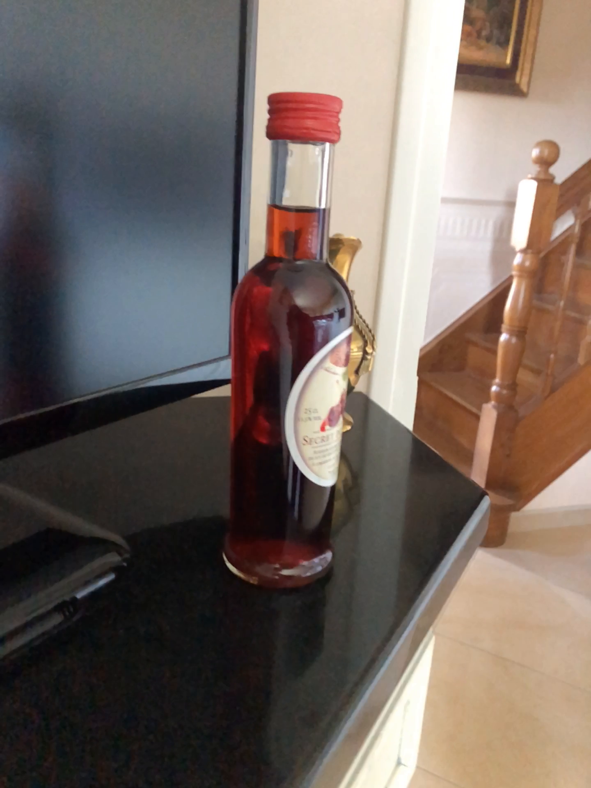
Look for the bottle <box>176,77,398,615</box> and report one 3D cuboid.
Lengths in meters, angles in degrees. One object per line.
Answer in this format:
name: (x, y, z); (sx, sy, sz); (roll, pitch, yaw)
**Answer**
bottle: (-0.006, -0.020, 0.303); (0.070, 0.219, 0.070); (3, 17, -1)
